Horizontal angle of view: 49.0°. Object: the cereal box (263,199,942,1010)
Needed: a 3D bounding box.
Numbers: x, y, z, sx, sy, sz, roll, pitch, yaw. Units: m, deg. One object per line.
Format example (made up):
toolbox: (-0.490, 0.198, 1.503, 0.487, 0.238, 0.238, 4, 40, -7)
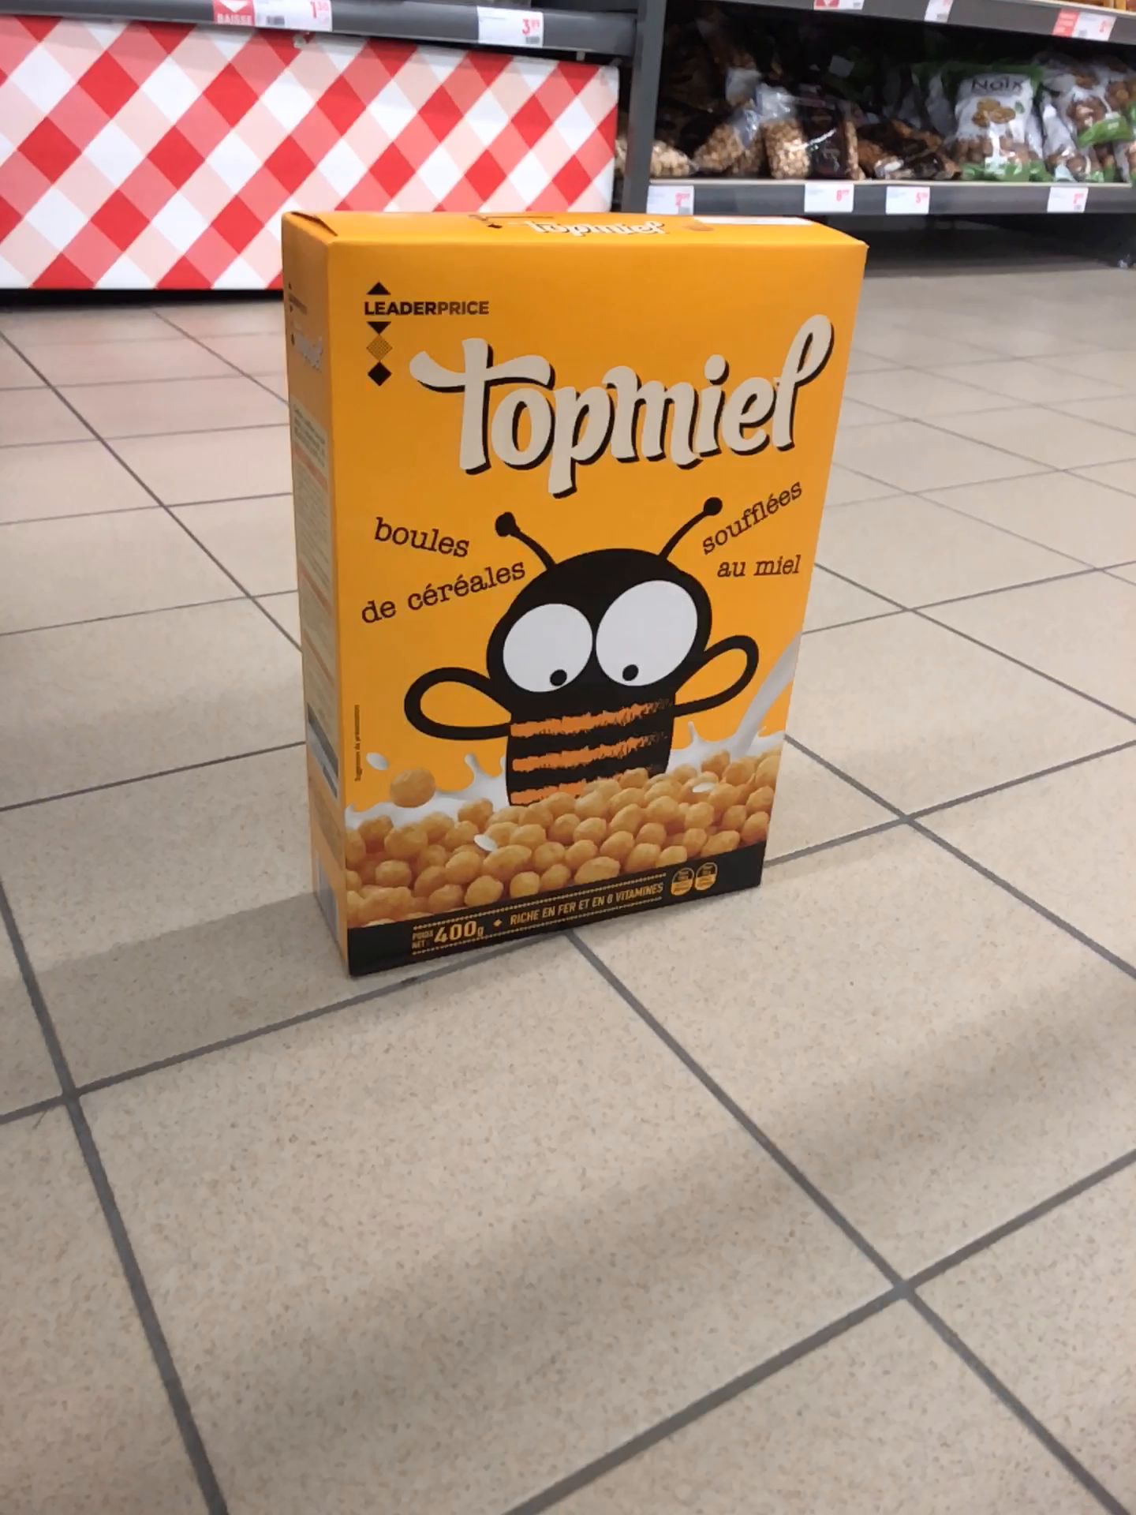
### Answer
cereal box: (0.007, -0.053, 0.460, 0.211, 0.268, 0.060, -8, 30, -21)
